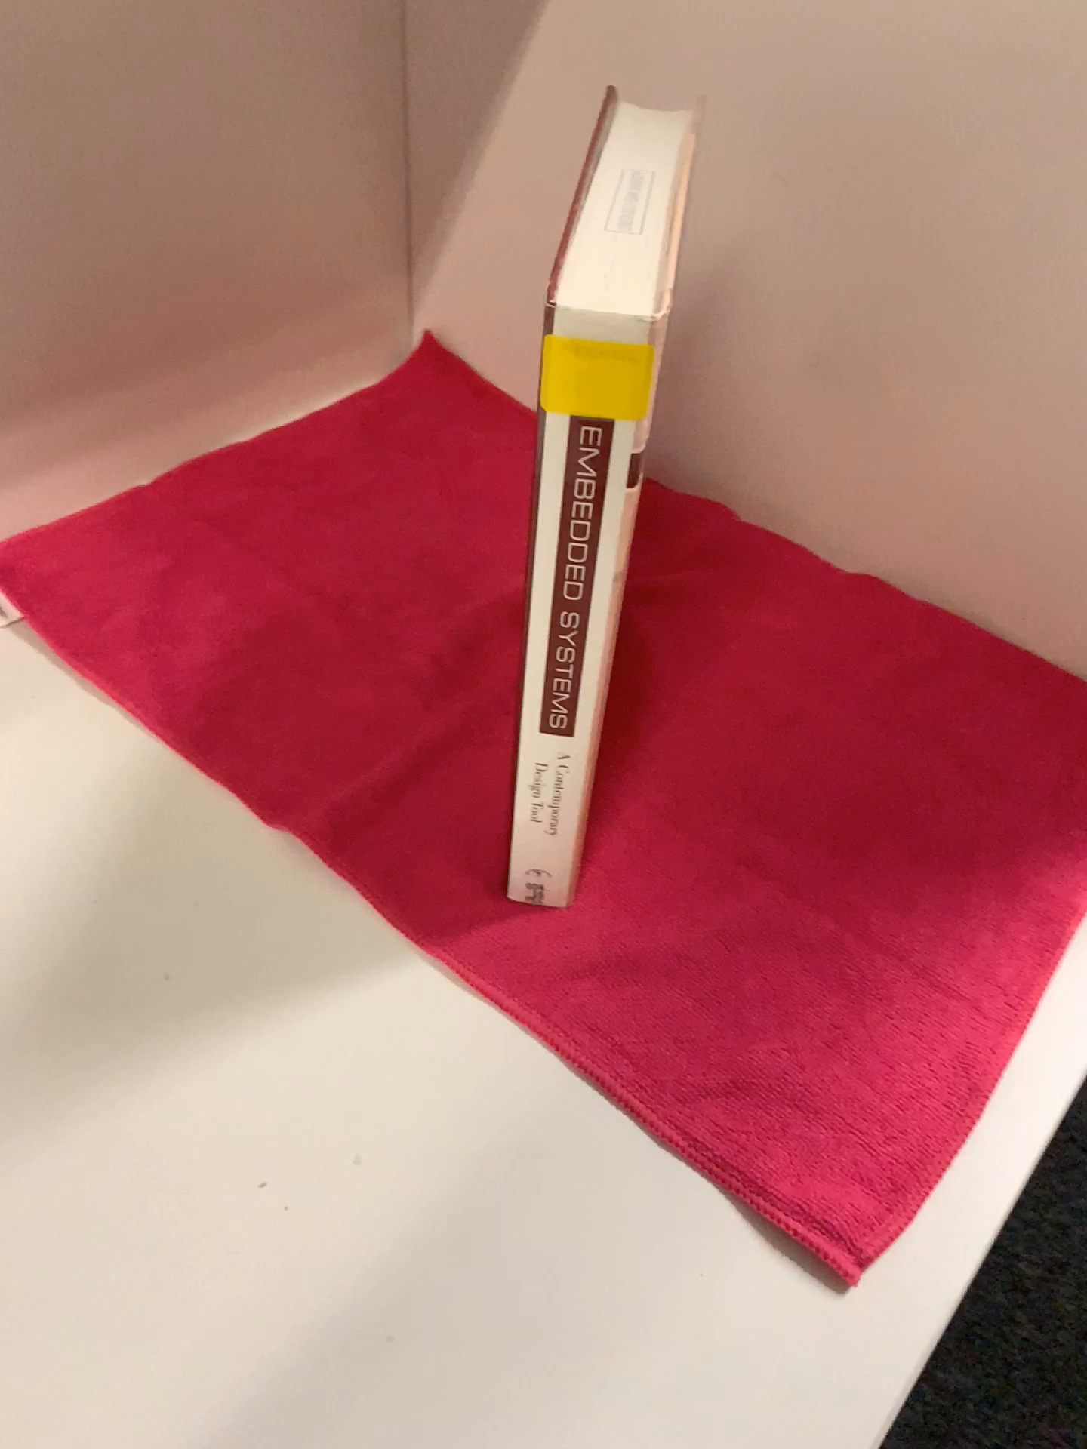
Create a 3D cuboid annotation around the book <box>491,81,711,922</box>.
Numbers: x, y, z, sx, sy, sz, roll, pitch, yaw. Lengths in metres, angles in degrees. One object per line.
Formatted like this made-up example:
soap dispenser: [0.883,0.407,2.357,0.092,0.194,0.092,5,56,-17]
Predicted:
book: [0.022,-0.087,0.454,0.044,0.258,0.213,8,44,3]
